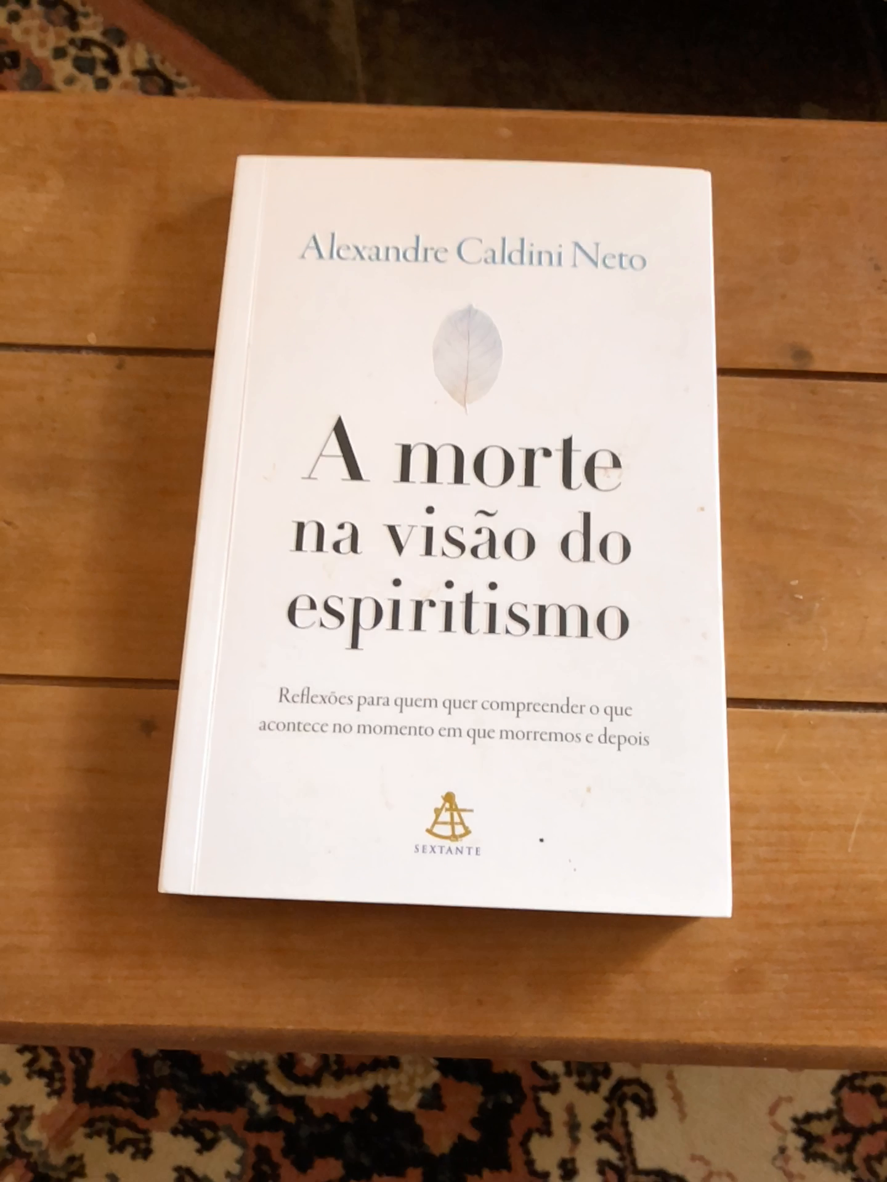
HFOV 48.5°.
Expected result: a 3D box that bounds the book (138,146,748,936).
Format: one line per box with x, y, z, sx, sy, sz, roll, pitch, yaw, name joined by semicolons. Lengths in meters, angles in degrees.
0.004;-0.020;0.251;0.135;0.020;0.196;3;76;1;book
